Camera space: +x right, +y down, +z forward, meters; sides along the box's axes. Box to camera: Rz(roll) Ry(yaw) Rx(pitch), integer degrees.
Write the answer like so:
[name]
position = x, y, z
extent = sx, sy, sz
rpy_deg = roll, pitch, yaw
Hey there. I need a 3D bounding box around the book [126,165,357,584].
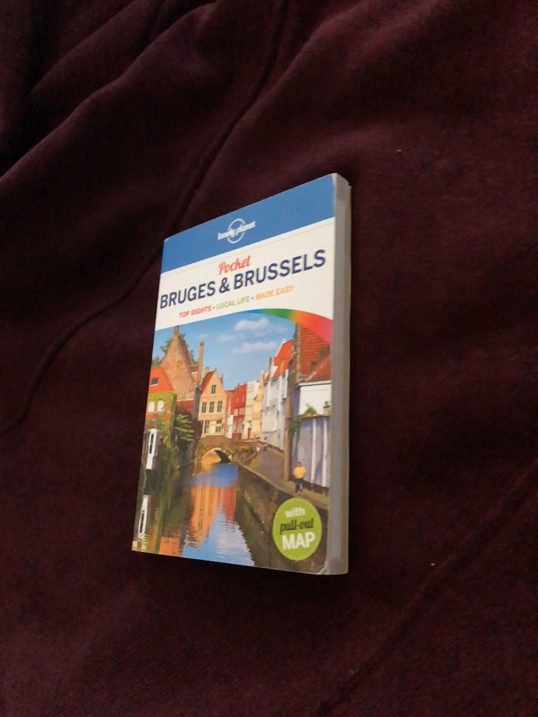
[book]
position = -0.014, 0.008, 0.262
extent = 0.111, 0.016, 0.158
rpy_deg = -10, 71, 40
